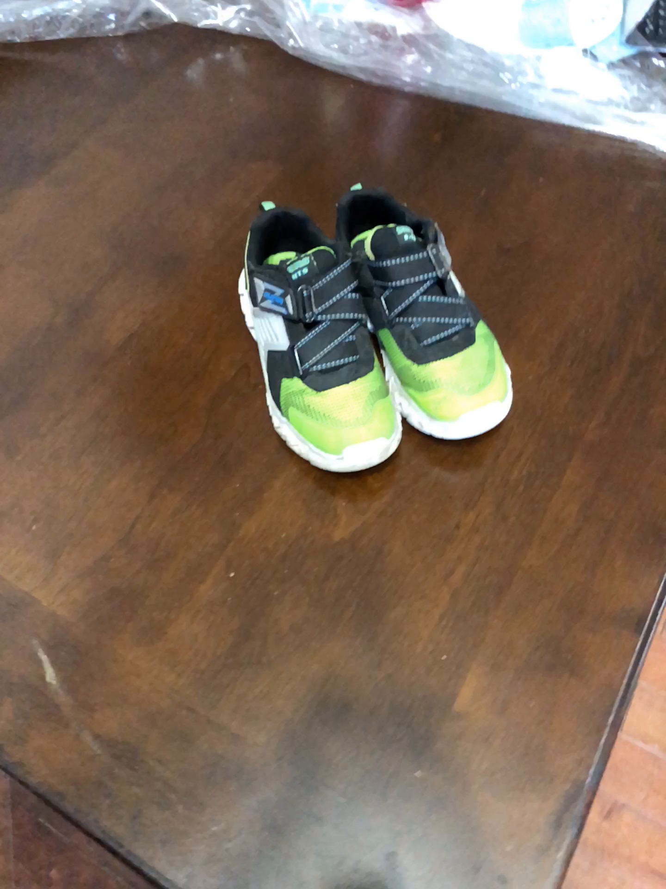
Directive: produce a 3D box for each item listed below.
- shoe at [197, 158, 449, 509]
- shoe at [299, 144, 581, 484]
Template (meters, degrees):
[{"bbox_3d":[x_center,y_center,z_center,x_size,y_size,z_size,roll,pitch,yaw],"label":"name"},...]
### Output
[{"bbox_3d":[-0.012,-0.082,0.515,0.100,0.100,0.210,-18,59,-7],"label":"shoe"},{"bbox_3d":[0.065,-0.098,0.532,0.100,0.100,0.210,-21,60,-9],"label":"shoe"}]
